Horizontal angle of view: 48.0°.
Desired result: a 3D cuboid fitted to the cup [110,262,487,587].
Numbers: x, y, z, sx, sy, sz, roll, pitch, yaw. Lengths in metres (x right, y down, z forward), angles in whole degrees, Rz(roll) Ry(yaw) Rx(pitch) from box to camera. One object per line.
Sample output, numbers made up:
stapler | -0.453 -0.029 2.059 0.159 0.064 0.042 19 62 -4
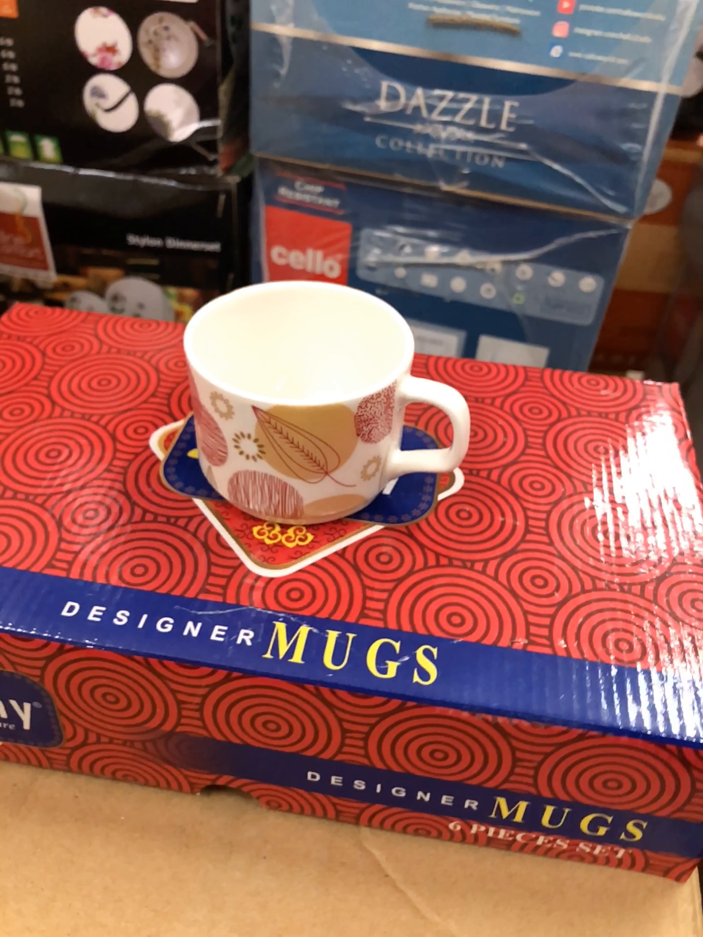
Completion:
cup | -0.012 -0.017 0.238 0.090 0.050 0.070 12 40 7
